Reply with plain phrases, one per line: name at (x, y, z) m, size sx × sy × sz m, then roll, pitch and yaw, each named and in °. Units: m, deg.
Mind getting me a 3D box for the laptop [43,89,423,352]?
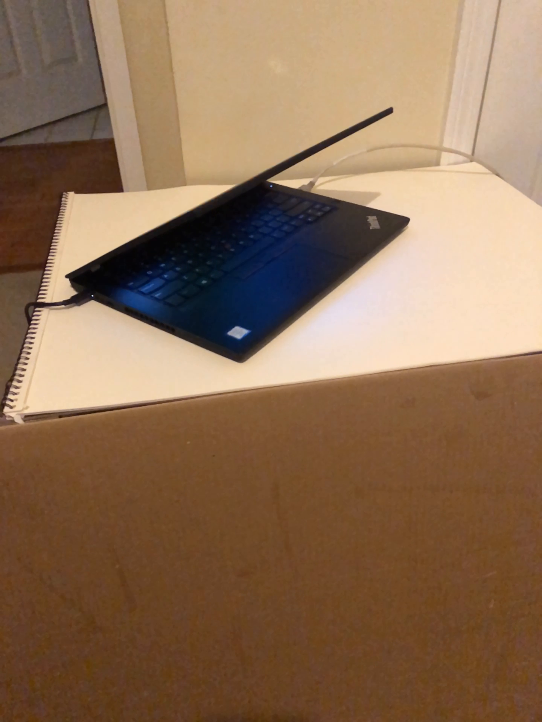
laptop at (-0.022, -0.174, 0.621) m, size 0.227 × 0.115 × 0.318 m, roll 23°, pitch 44°, yaw 29°
